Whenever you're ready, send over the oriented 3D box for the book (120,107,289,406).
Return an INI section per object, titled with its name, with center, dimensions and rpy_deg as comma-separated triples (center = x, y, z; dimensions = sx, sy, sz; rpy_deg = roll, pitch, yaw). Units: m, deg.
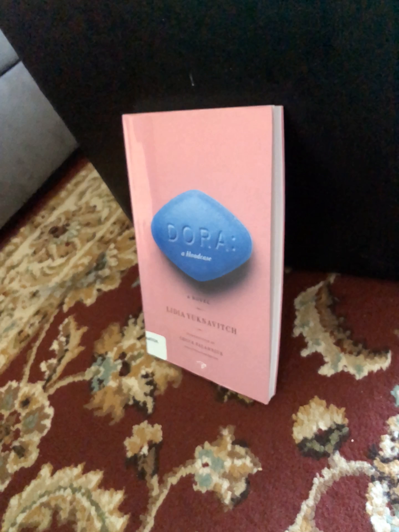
[book]
center = 0.001, -0.012, 0.388
dimensions = 0.149, 0.231, 0.030
rpy_deg = 13, 23, 39
